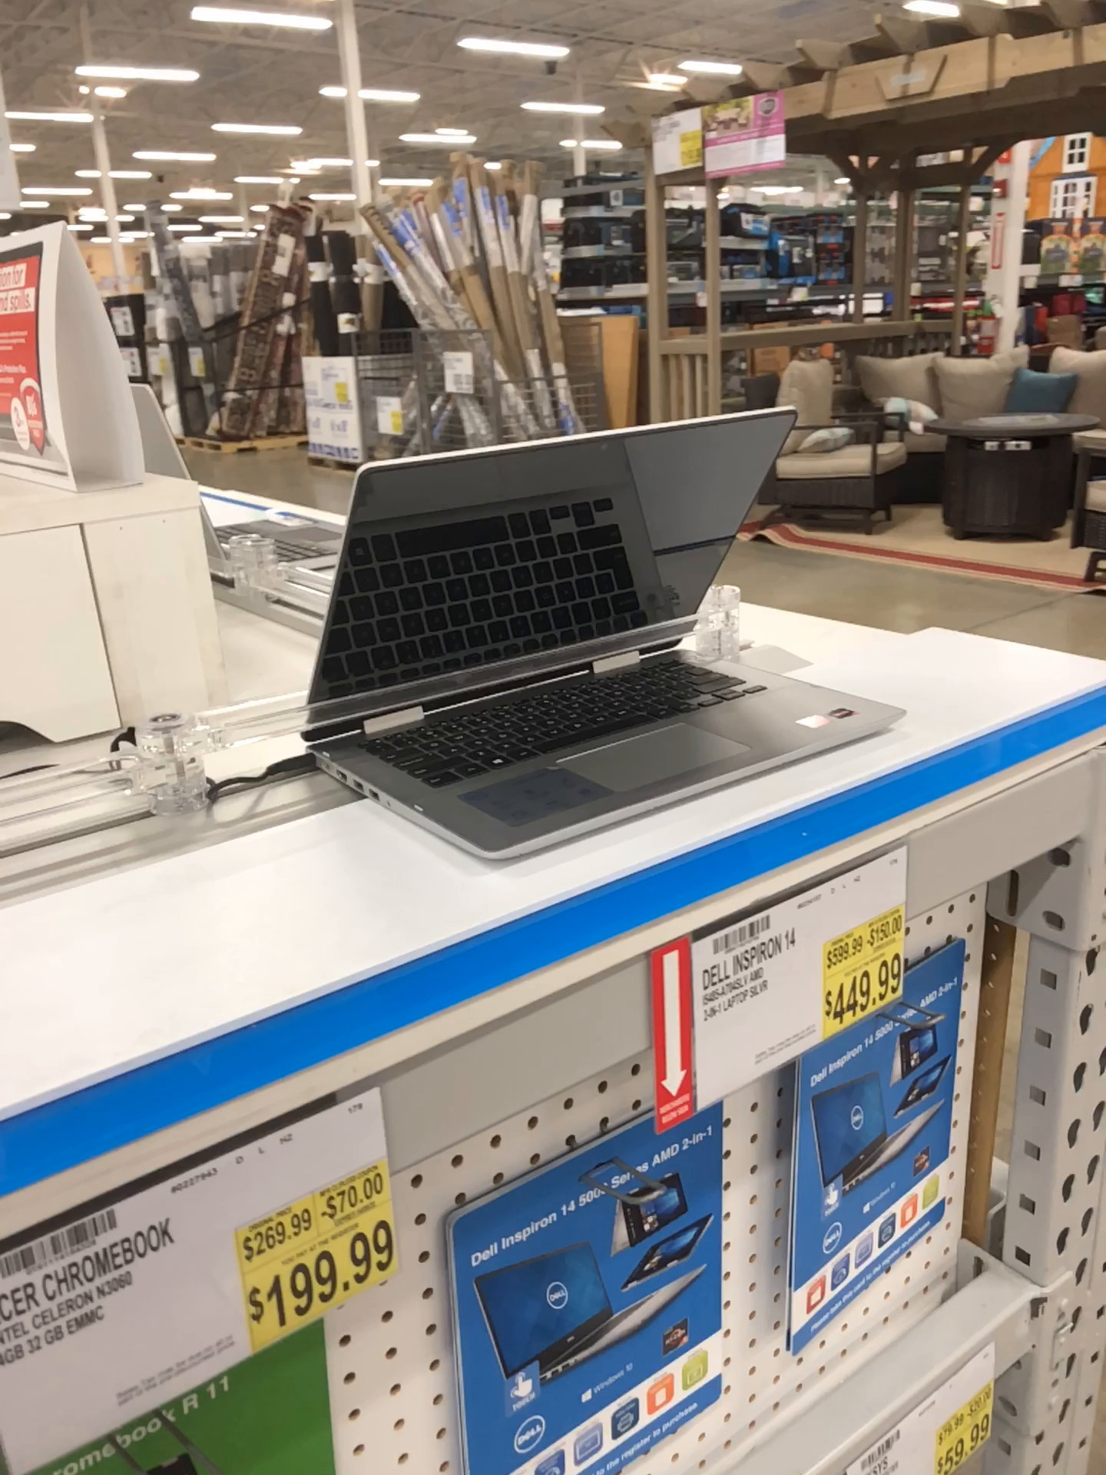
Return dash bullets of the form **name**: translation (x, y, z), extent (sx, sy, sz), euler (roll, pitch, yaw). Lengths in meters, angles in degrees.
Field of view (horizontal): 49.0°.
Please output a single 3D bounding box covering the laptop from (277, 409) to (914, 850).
- **laptop**: translation (0.030, -0.091, 0.748), extent (0.308, 0.183, 0.210), euler (-16, 23, -32)
